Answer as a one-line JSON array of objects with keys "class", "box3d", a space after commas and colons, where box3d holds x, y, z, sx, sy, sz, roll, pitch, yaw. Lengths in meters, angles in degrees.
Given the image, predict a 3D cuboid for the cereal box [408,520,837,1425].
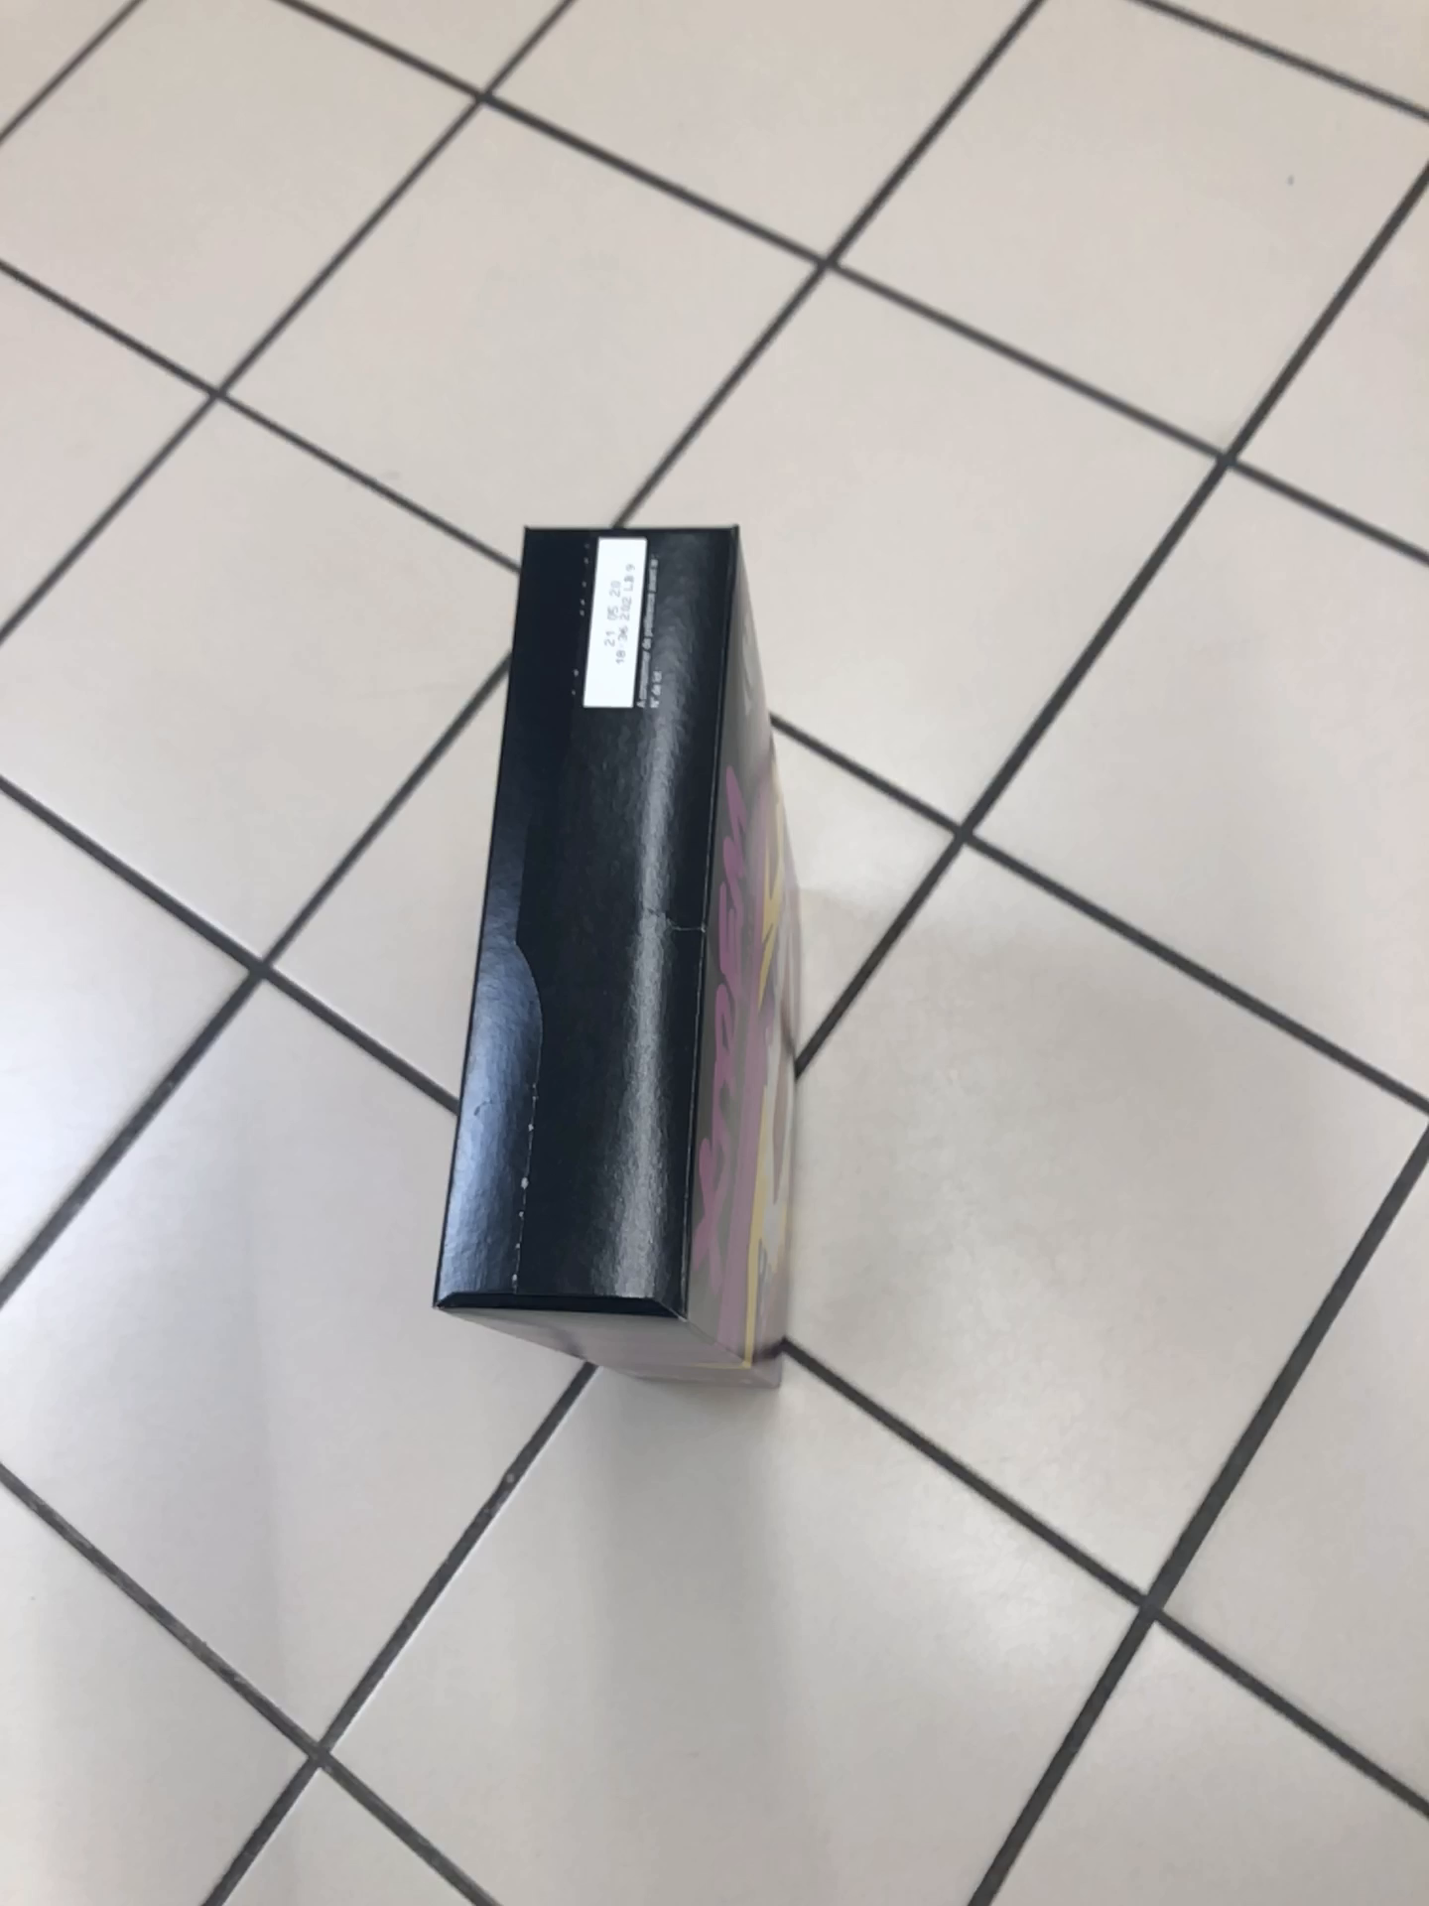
[{"class": "cereal box", "box3d": [-0.008, 0.028, 0.467, 0.070, 0.240, 0.200, 2, 71, 7]}]
